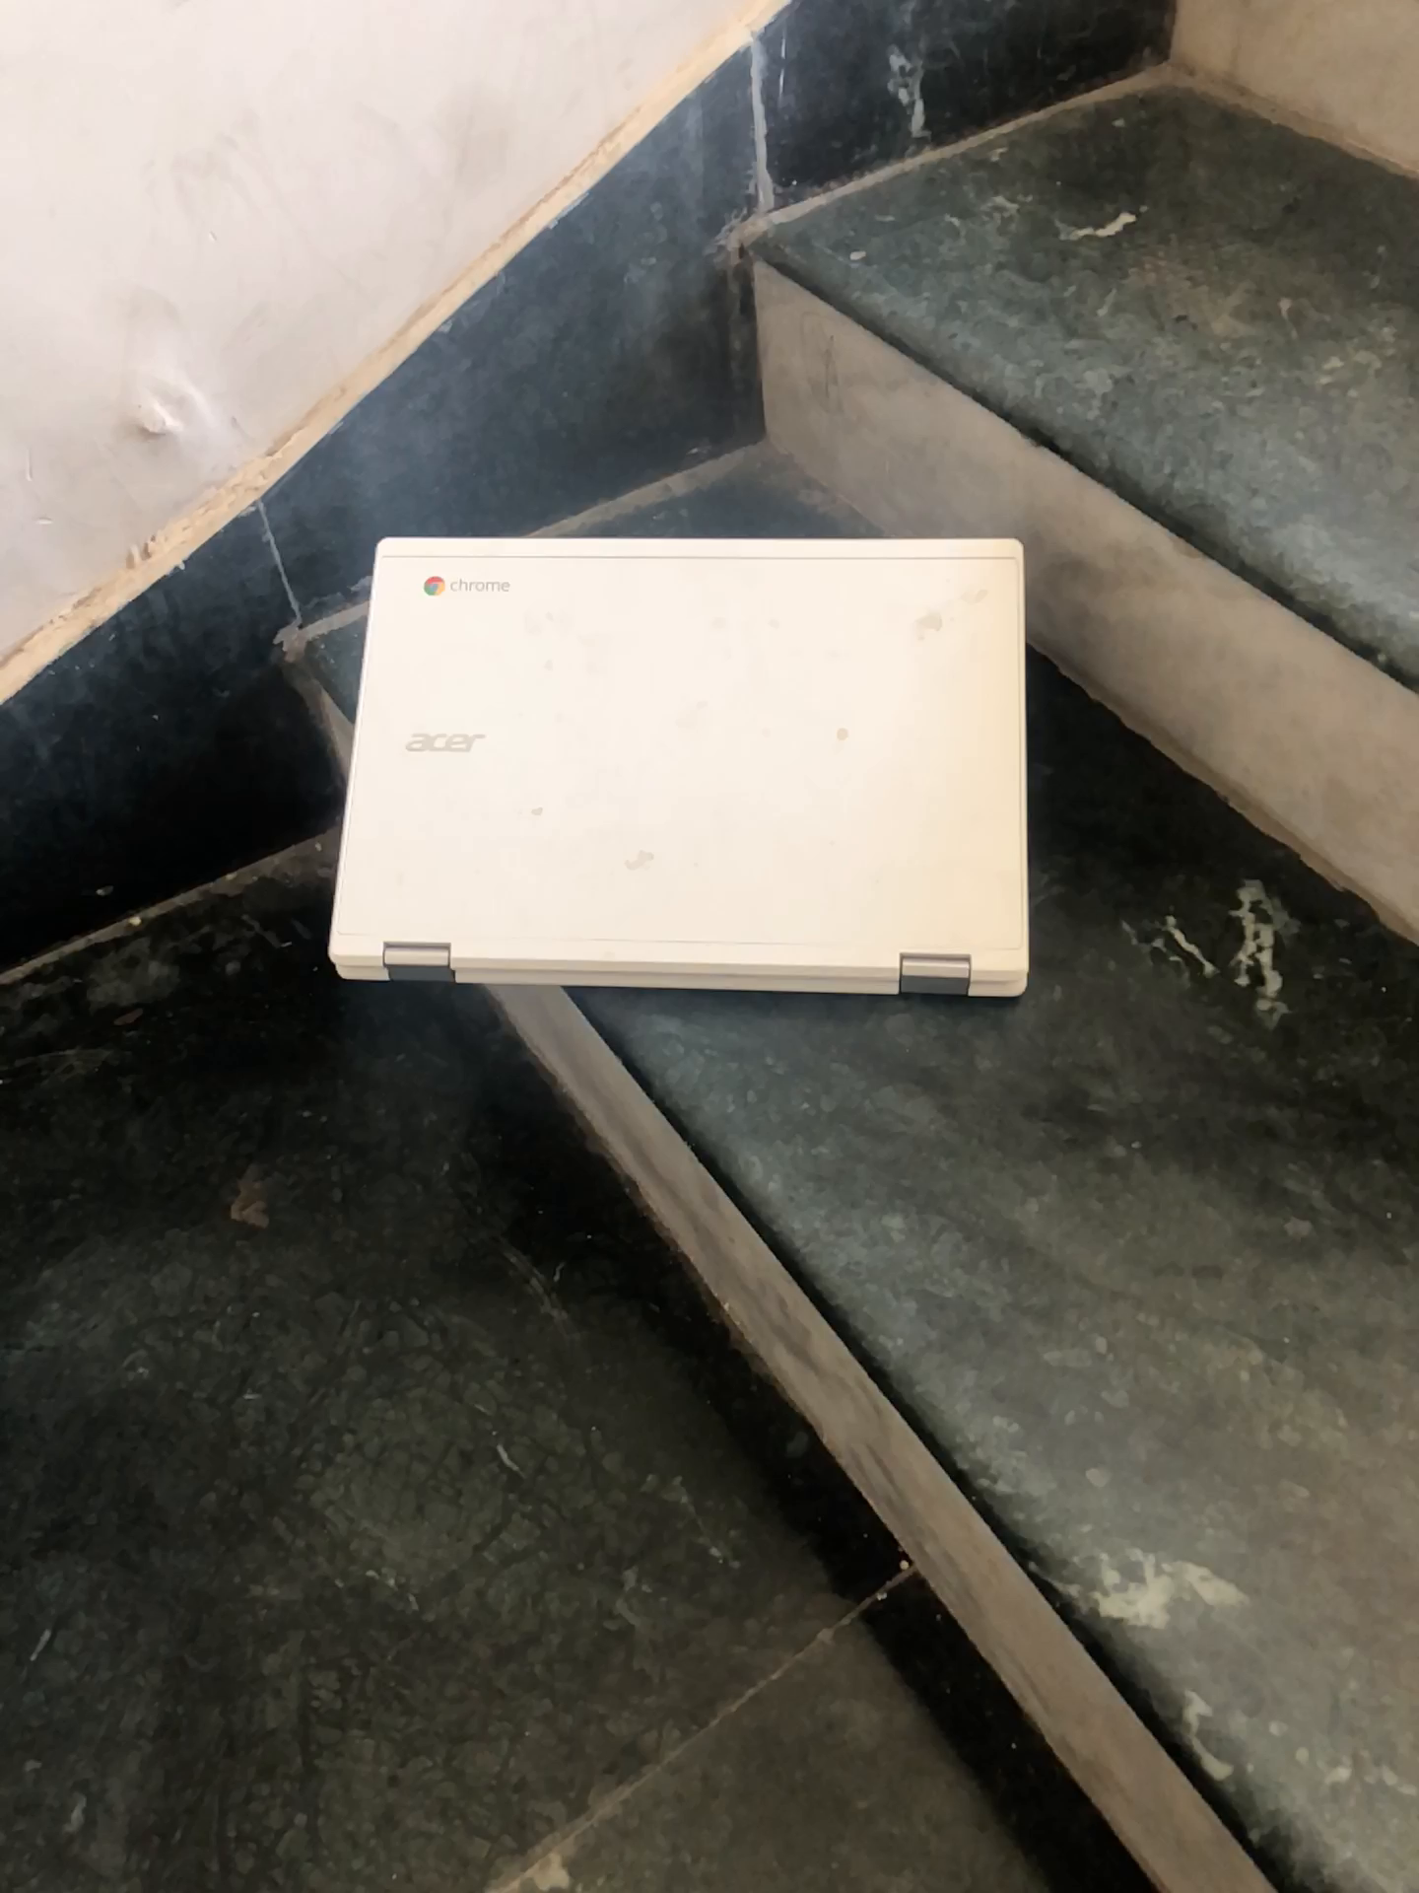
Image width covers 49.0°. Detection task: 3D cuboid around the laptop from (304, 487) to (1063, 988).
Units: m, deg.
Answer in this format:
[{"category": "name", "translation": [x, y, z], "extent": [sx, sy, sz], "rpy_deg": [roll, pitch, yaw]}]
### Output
[{"category": "laptop", "translation": [-0.007, -0.095, 0.668], "extent": [0.282, 0.090, 0.191], "rpy_deg": [2, 53, 3]}]
